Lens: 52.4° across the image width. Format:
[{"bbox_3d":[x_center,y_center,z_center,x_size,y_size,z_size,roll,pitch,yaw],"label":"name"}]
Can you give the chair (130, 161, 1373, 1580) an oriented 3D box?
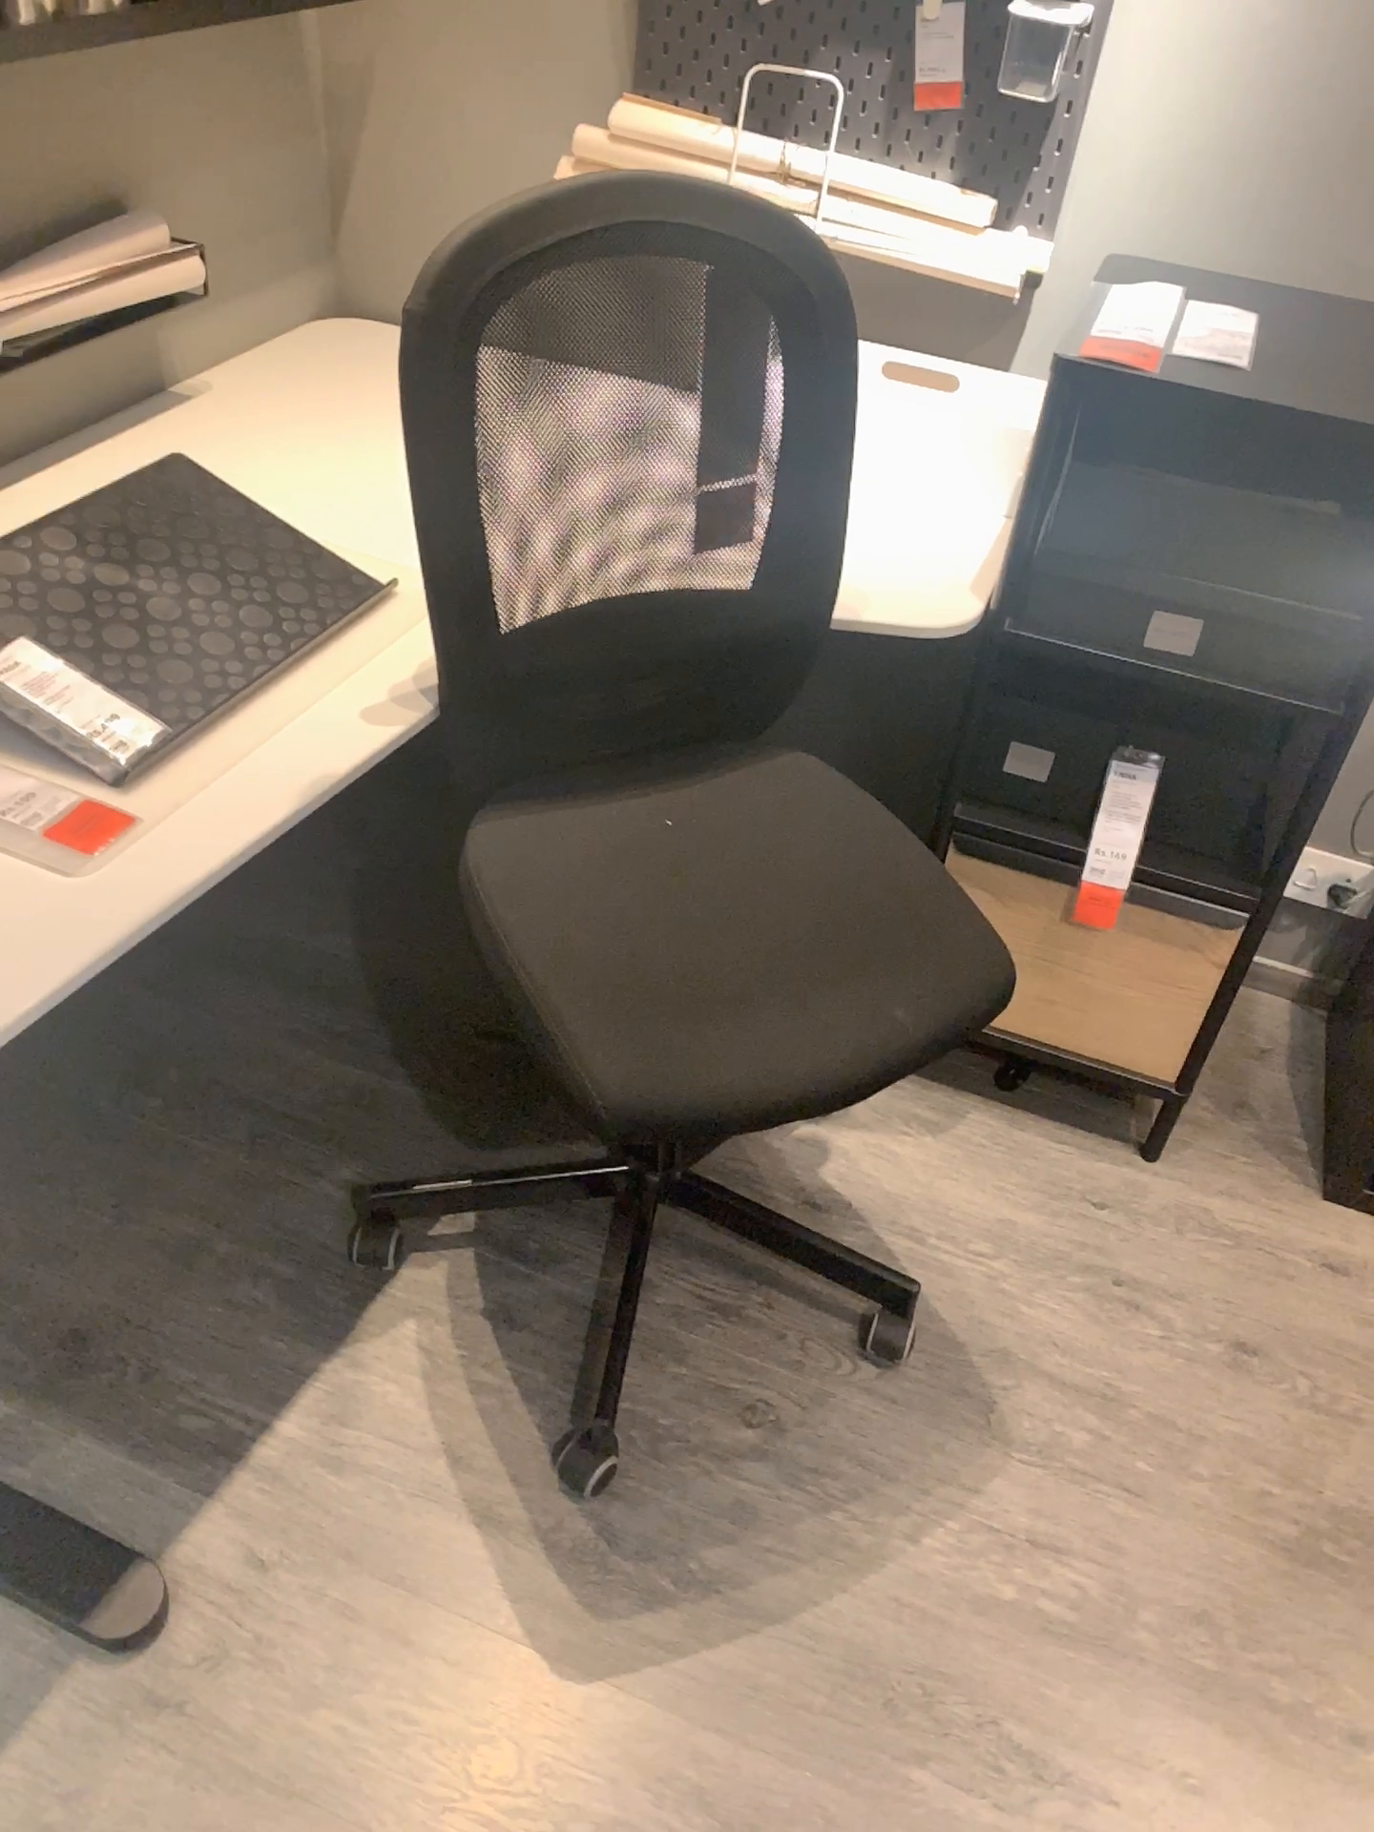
[{"bbox_3d":[-0.021,-0.071,1.327,0.691,0.996,0.712,-14,44,-24],"label":"chair"}]
